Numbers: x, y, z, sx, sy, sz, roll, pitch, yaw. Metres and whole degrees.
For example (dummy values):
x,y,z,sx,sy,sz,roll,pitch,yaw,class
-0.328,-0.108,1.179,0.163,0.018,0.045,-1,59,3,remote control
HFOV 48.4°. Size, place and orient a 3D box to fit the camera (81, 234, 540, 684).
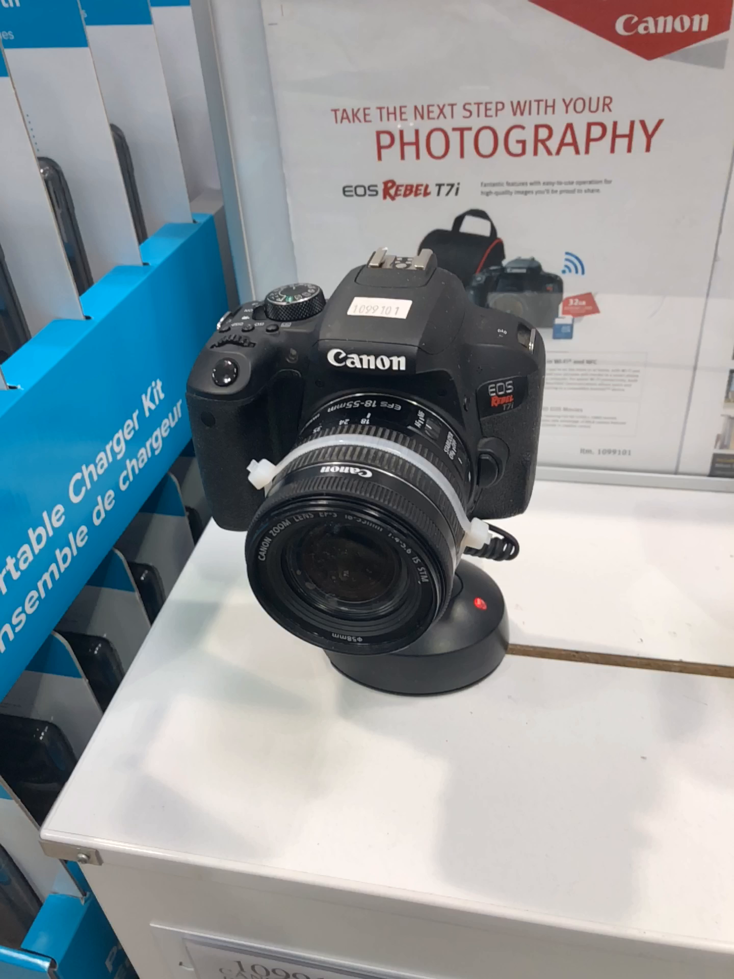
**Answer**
x,y,z,sx,sy,sz,roll,pitch,yaw,class
-0.004,-0.023,0.316,0.130,0.100,0.151,3,37,11,camera
